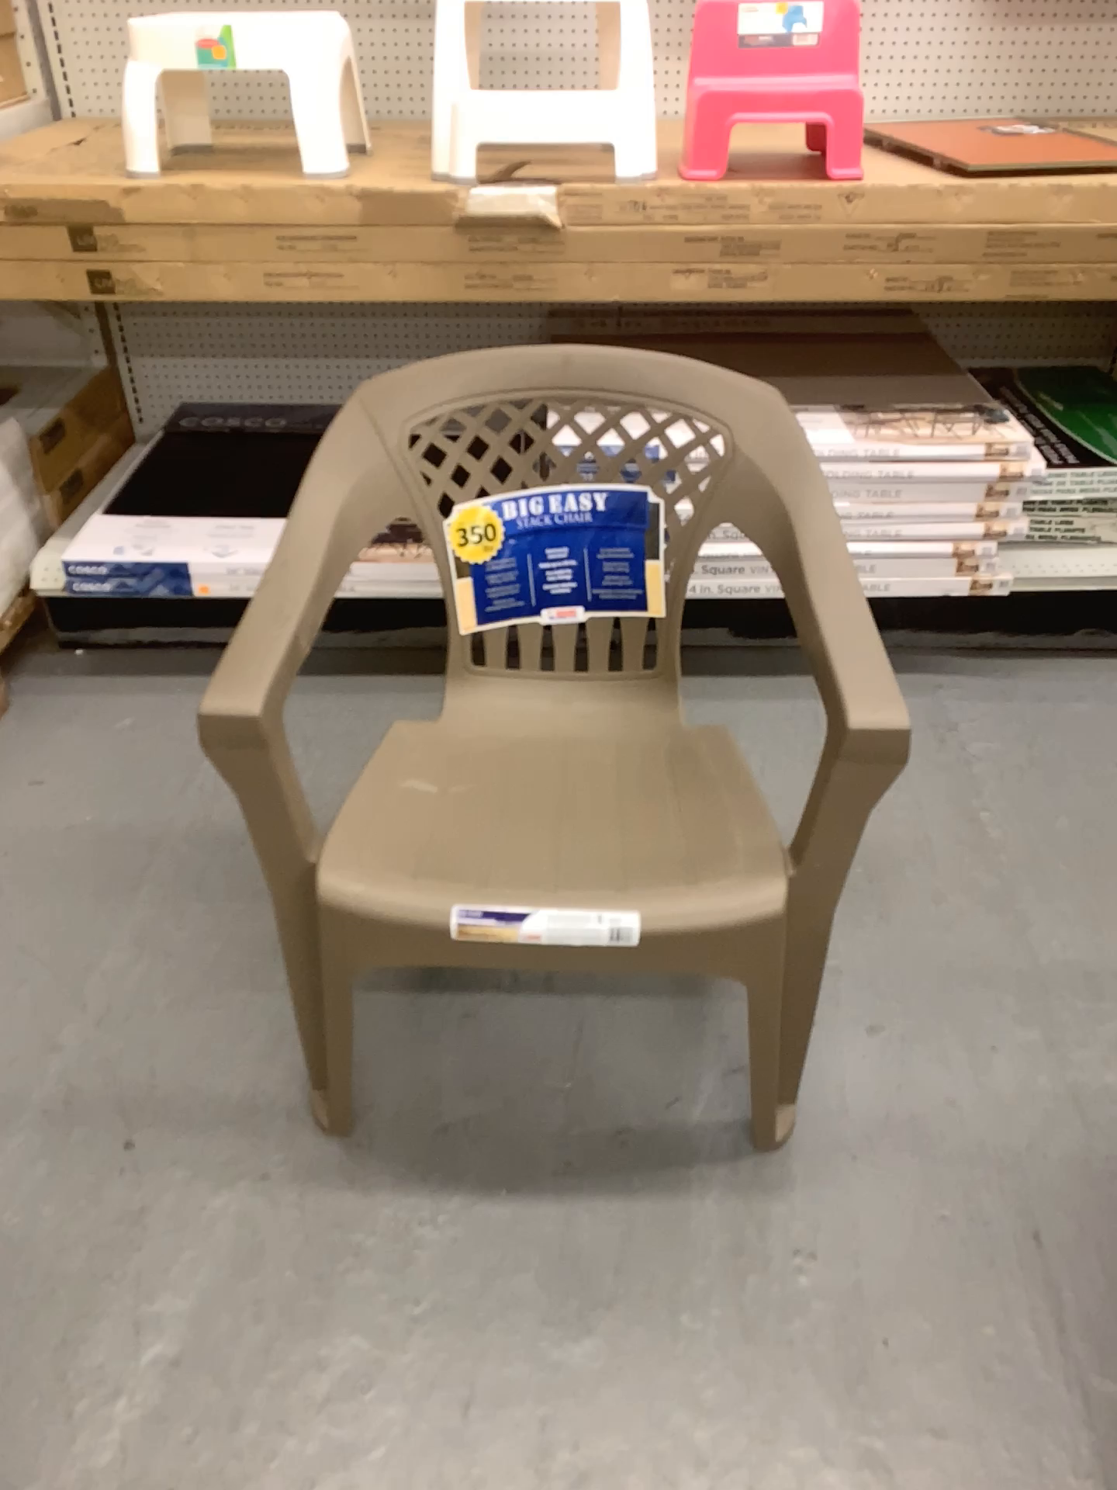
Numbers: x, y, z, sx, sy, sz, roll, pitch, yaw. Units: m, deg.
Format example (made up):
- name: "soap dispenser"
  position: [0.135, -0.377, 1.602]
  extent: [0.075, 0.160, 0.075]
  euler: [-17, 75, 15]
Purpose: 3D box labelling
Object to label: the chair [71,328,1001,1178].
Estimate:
- name: "chair"
  position: [-0.018, 0.010, 1.415]
  extent: [0.766, 0.878, 0.590]
  euler: [1, 34, 1]
